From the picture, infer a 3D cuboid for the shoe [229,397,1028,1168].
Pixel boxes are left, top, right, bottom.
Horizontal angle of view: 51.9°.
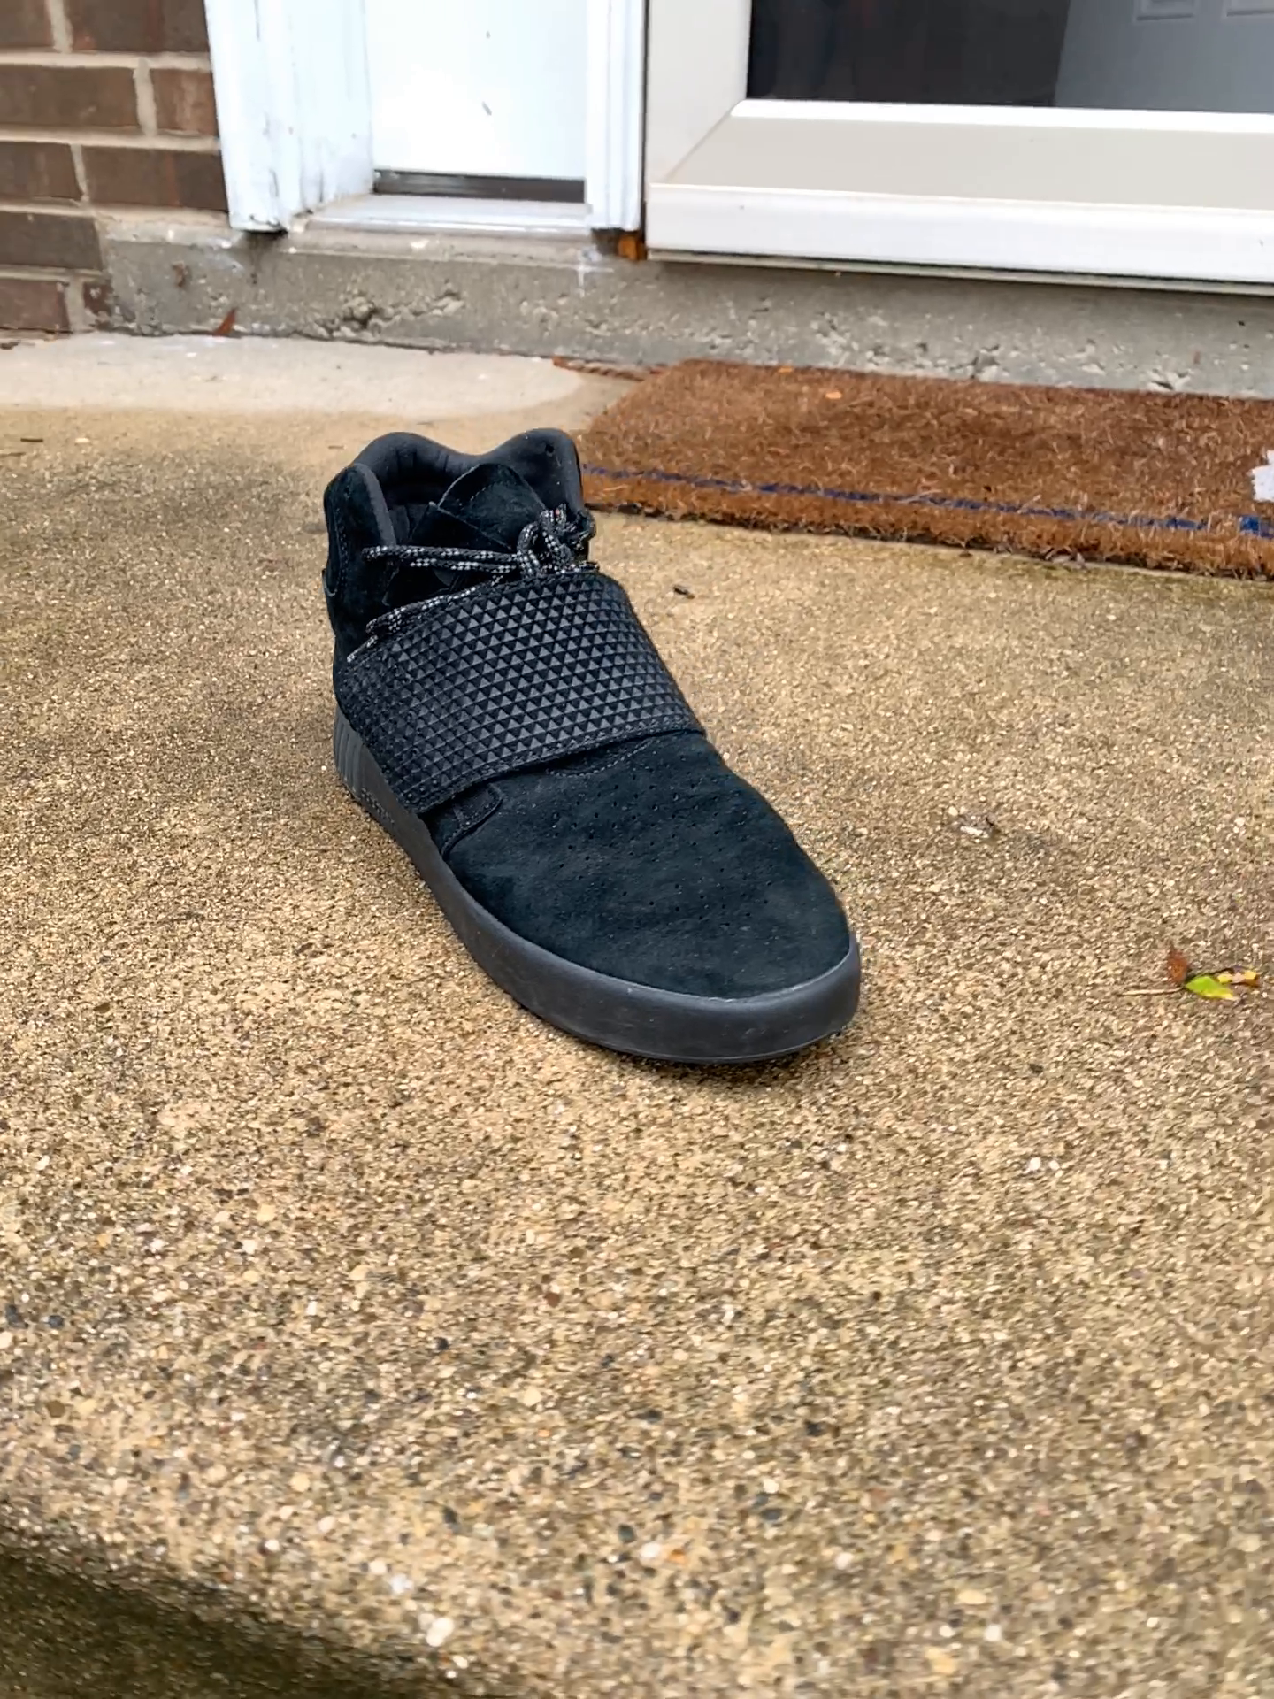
[{"bbox_3d":[-0.027,-0.052,0.457,0.119,0.141,0.291,-17,35,-29],"label":"shoe"}]
